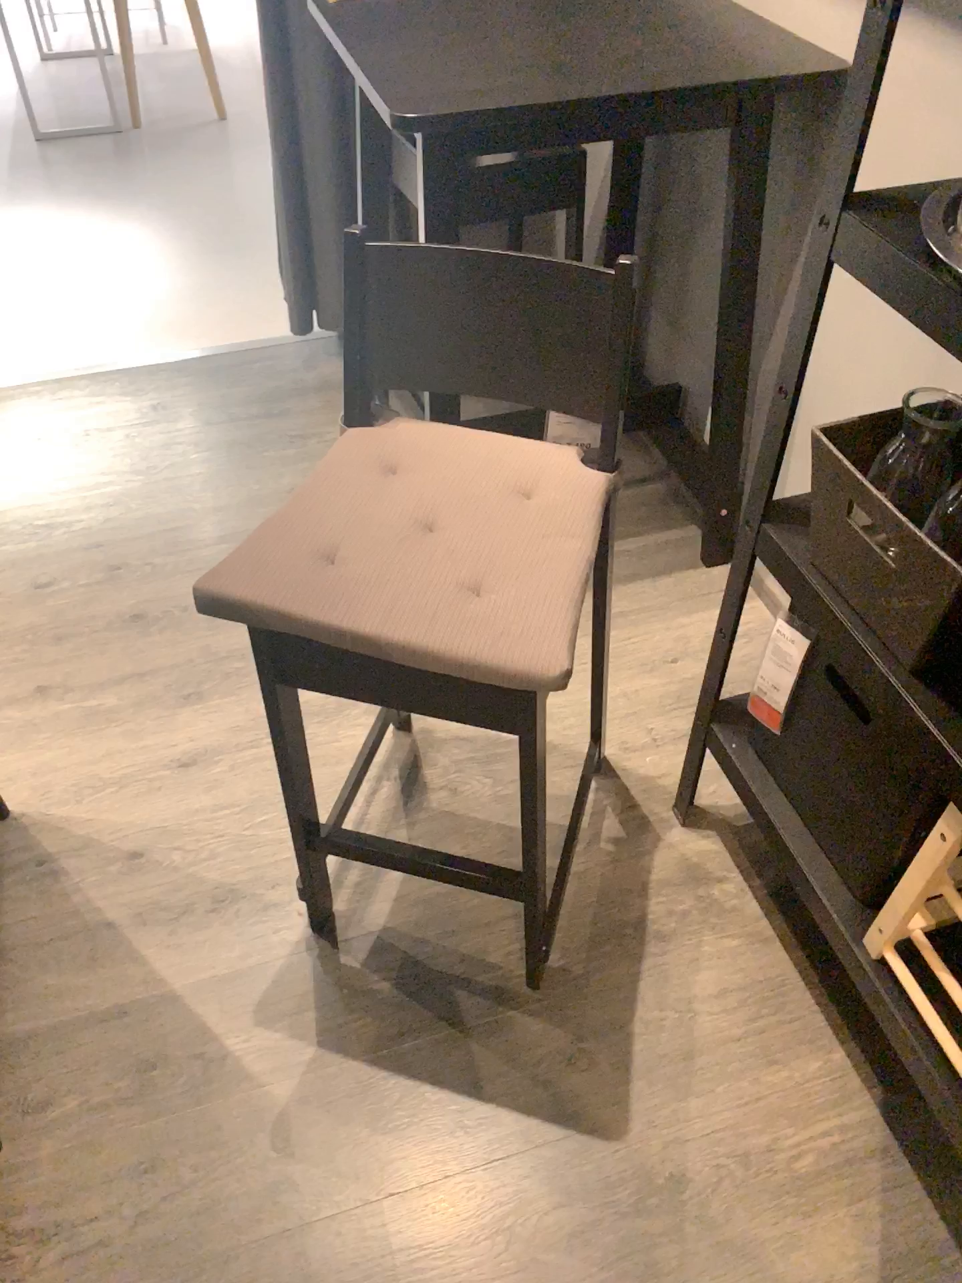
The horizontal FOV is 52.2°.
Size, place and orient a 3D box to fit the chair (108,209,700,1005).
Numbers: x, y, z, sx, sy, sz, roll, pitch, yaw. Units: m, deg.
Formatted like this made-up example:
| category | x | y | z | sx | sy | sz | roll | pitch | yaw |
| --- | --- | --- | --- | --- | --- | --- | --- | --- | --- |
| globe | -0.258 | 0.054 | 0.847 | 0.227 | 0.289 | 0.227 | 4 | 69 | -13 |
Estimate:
| category | x | y | z | sx | sy | sz | roll | pitch | yaw |
| --- | --- | --- | --- | --- | --- | --- | --- | --- | --- |
| chair | -0.038 | -0.005 | 1.309 | 0.460 | 0.887 | 0.502 | 11 | 47 | 11 |
